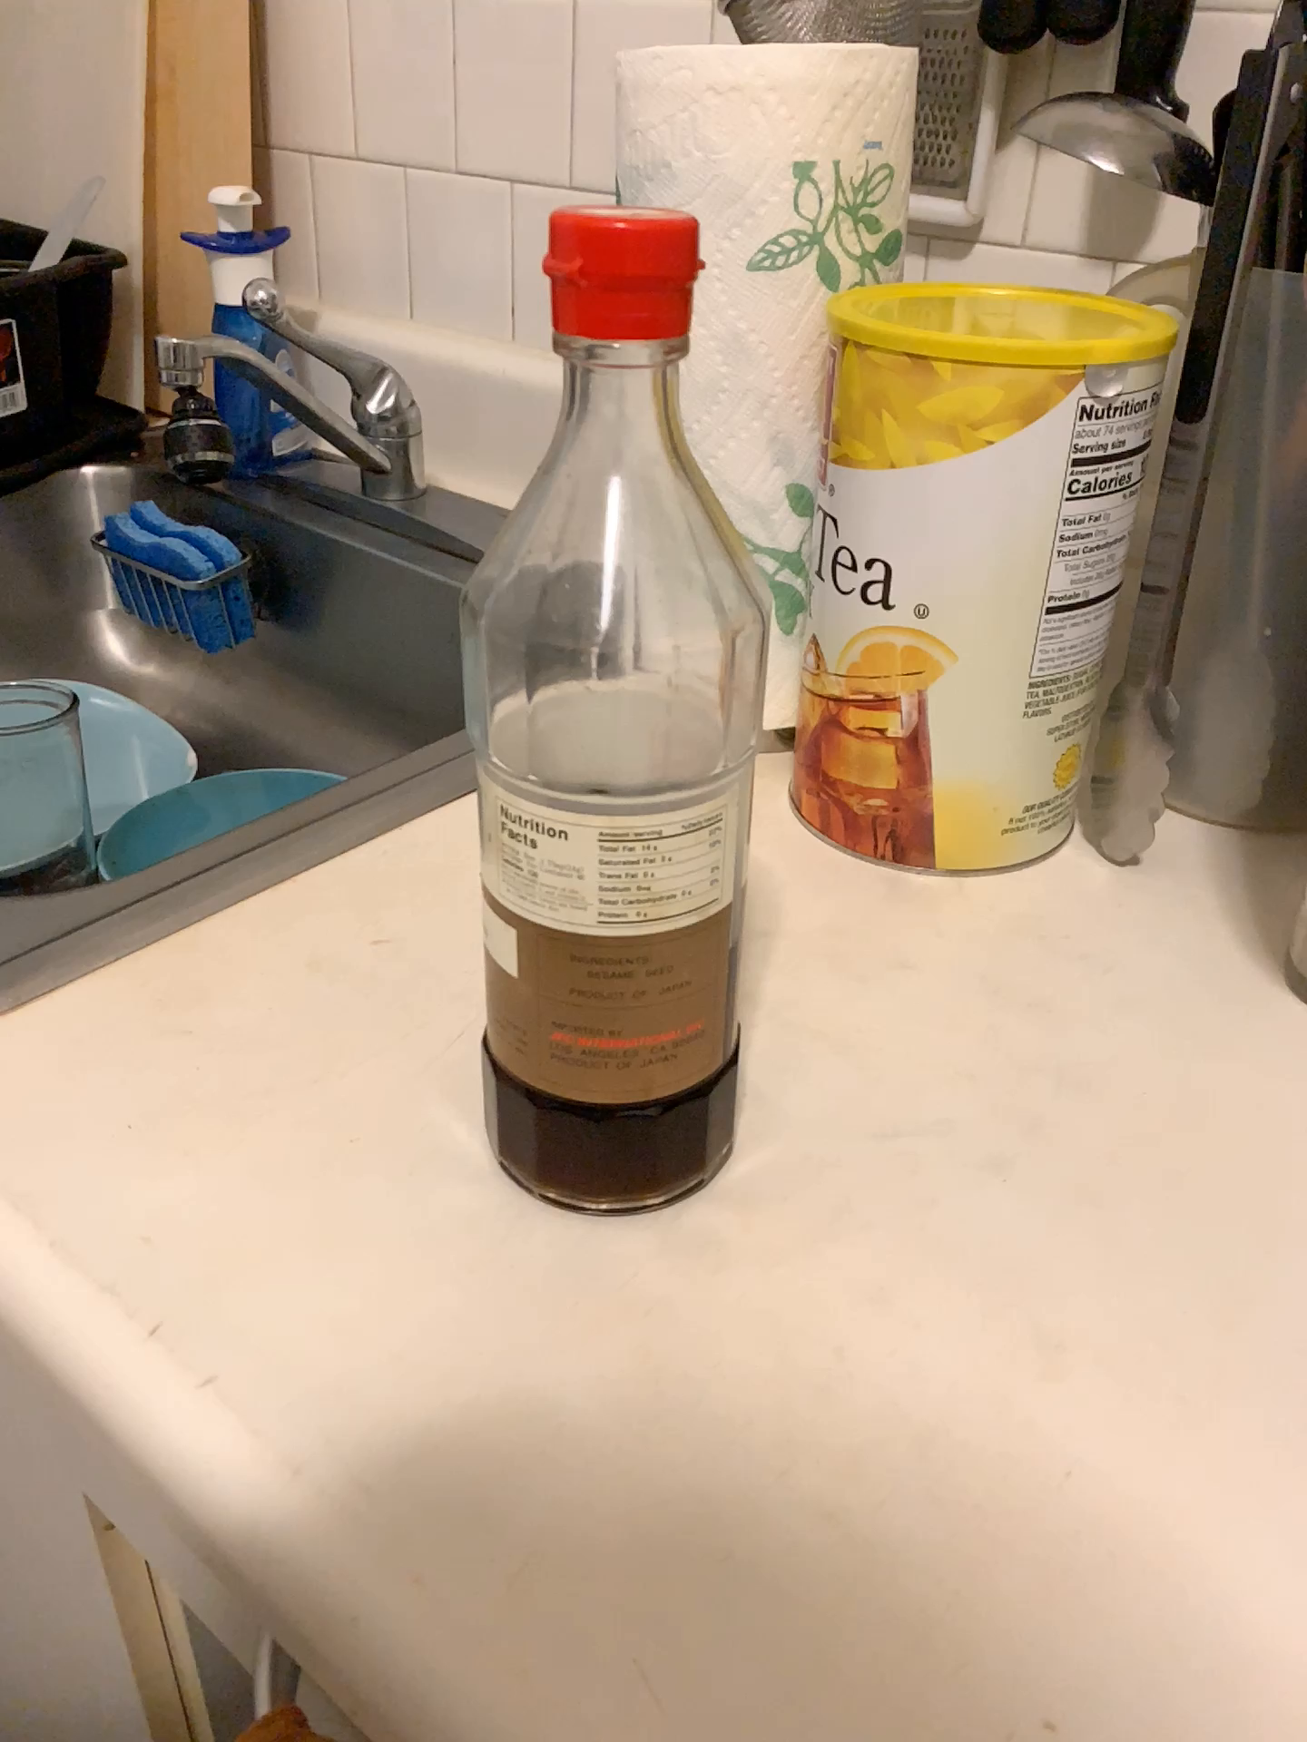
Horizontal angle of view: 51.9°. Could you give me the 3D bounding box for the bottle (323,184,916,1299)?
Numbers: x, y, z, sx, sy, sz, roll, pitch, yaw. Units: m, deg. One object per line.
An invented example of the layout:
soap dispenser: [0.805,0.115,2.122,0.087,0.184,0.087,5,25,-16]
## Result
bottle: [-0.009,-0.027,0.349,0.090,0.258,0.090,2,32,-1]
